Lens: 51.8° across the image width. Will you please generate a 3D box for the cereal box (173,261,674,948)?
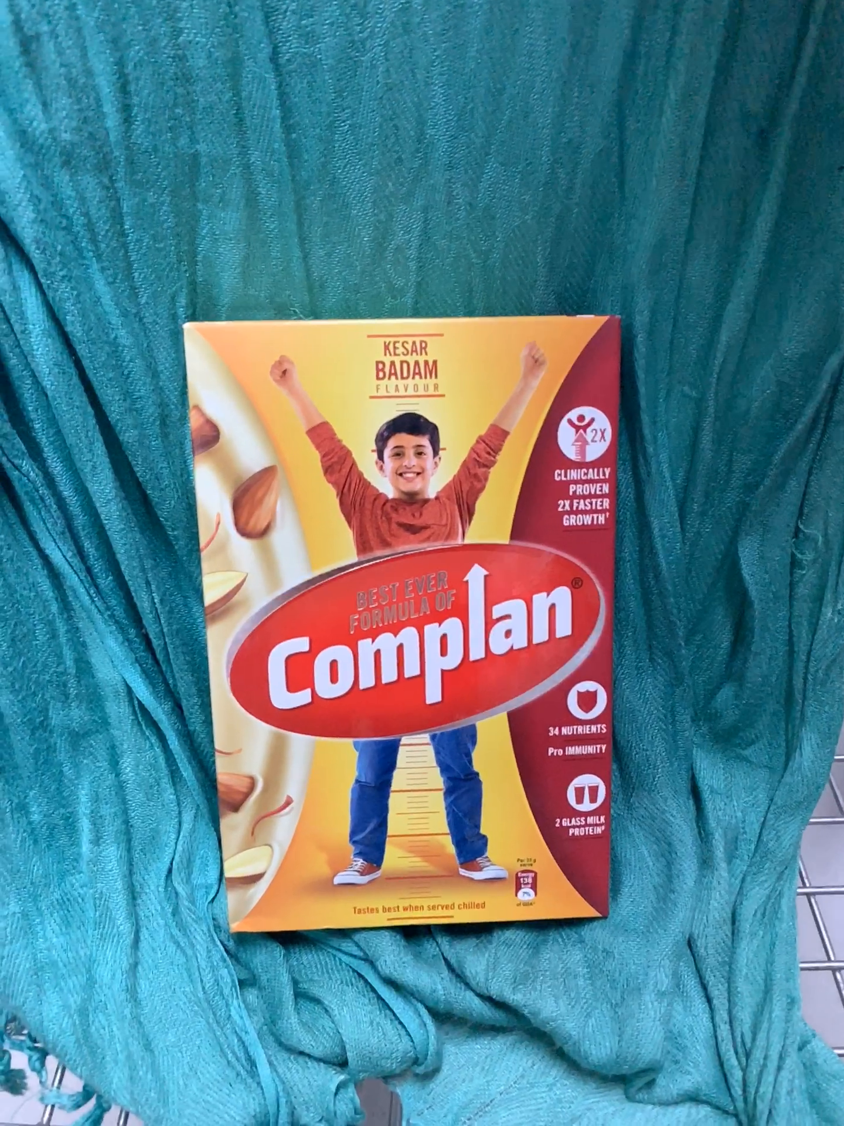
[{"bbox_3d":[0.002,0.013,0.290,0.140,0.200,0.060,-3,4,0],"label":"cereal box"}]
